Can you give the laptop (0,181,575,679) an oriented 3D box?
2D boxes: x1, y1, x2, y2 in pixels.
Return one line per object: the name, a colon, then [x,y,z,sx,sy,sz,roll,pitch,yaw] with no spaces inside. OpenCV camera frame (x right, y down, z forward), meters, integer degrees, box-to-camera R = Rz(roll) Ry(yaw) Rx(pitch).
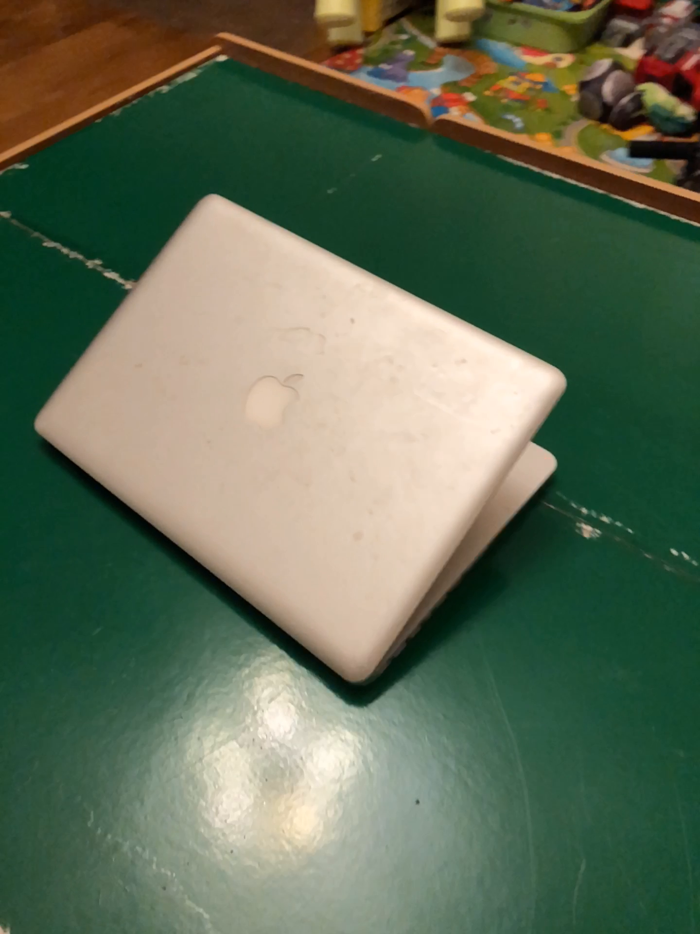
laptop: [-0.047,-0.052,0.527,0.316,0.098,0.210,33,60,26]
